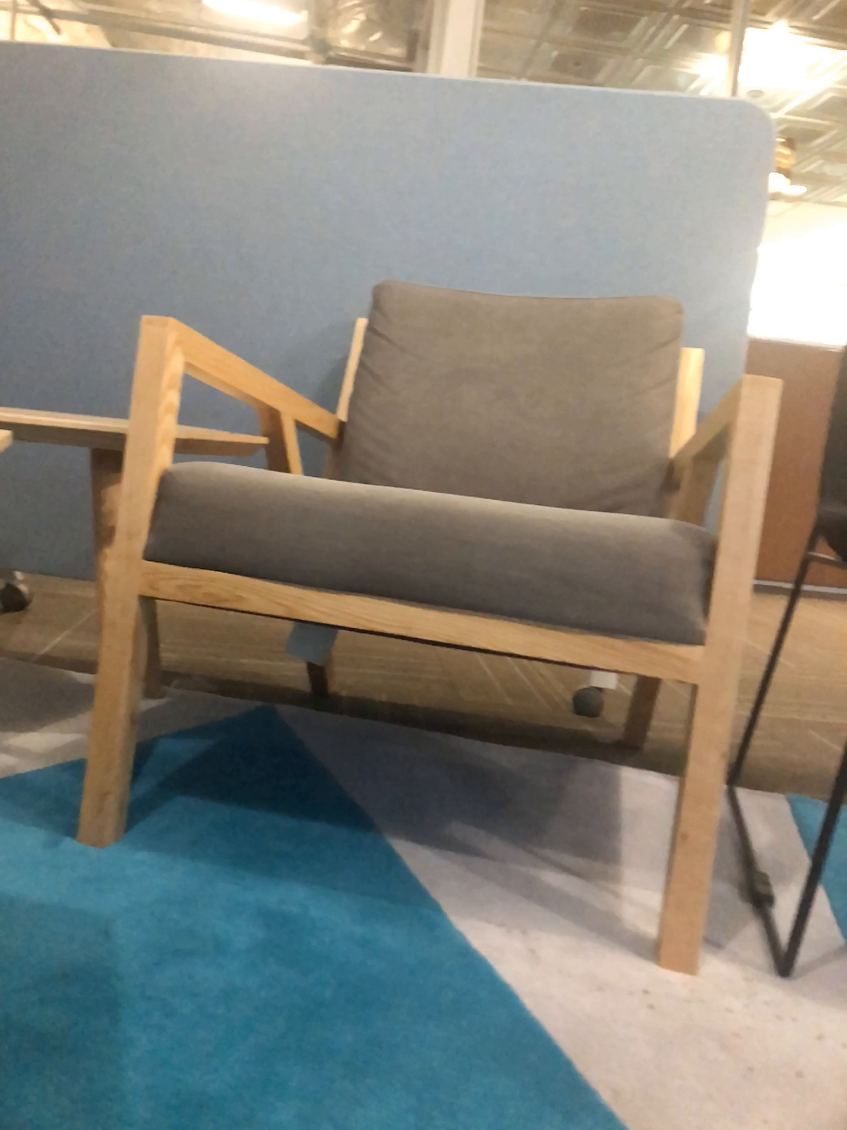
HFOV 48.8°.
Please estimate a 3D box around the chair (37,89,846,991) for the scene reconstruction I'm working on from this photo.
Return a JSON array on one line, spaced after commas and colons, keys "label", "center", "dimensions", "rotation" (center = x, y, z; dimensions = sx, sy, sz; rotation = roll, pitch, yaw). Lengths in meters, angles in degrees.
[{"label": "chair", "center": [0.069, -0.081, 1.268], "dimensions": [0.709, 0.748, 0.843], "rotation": [7, 7, 11]}]
